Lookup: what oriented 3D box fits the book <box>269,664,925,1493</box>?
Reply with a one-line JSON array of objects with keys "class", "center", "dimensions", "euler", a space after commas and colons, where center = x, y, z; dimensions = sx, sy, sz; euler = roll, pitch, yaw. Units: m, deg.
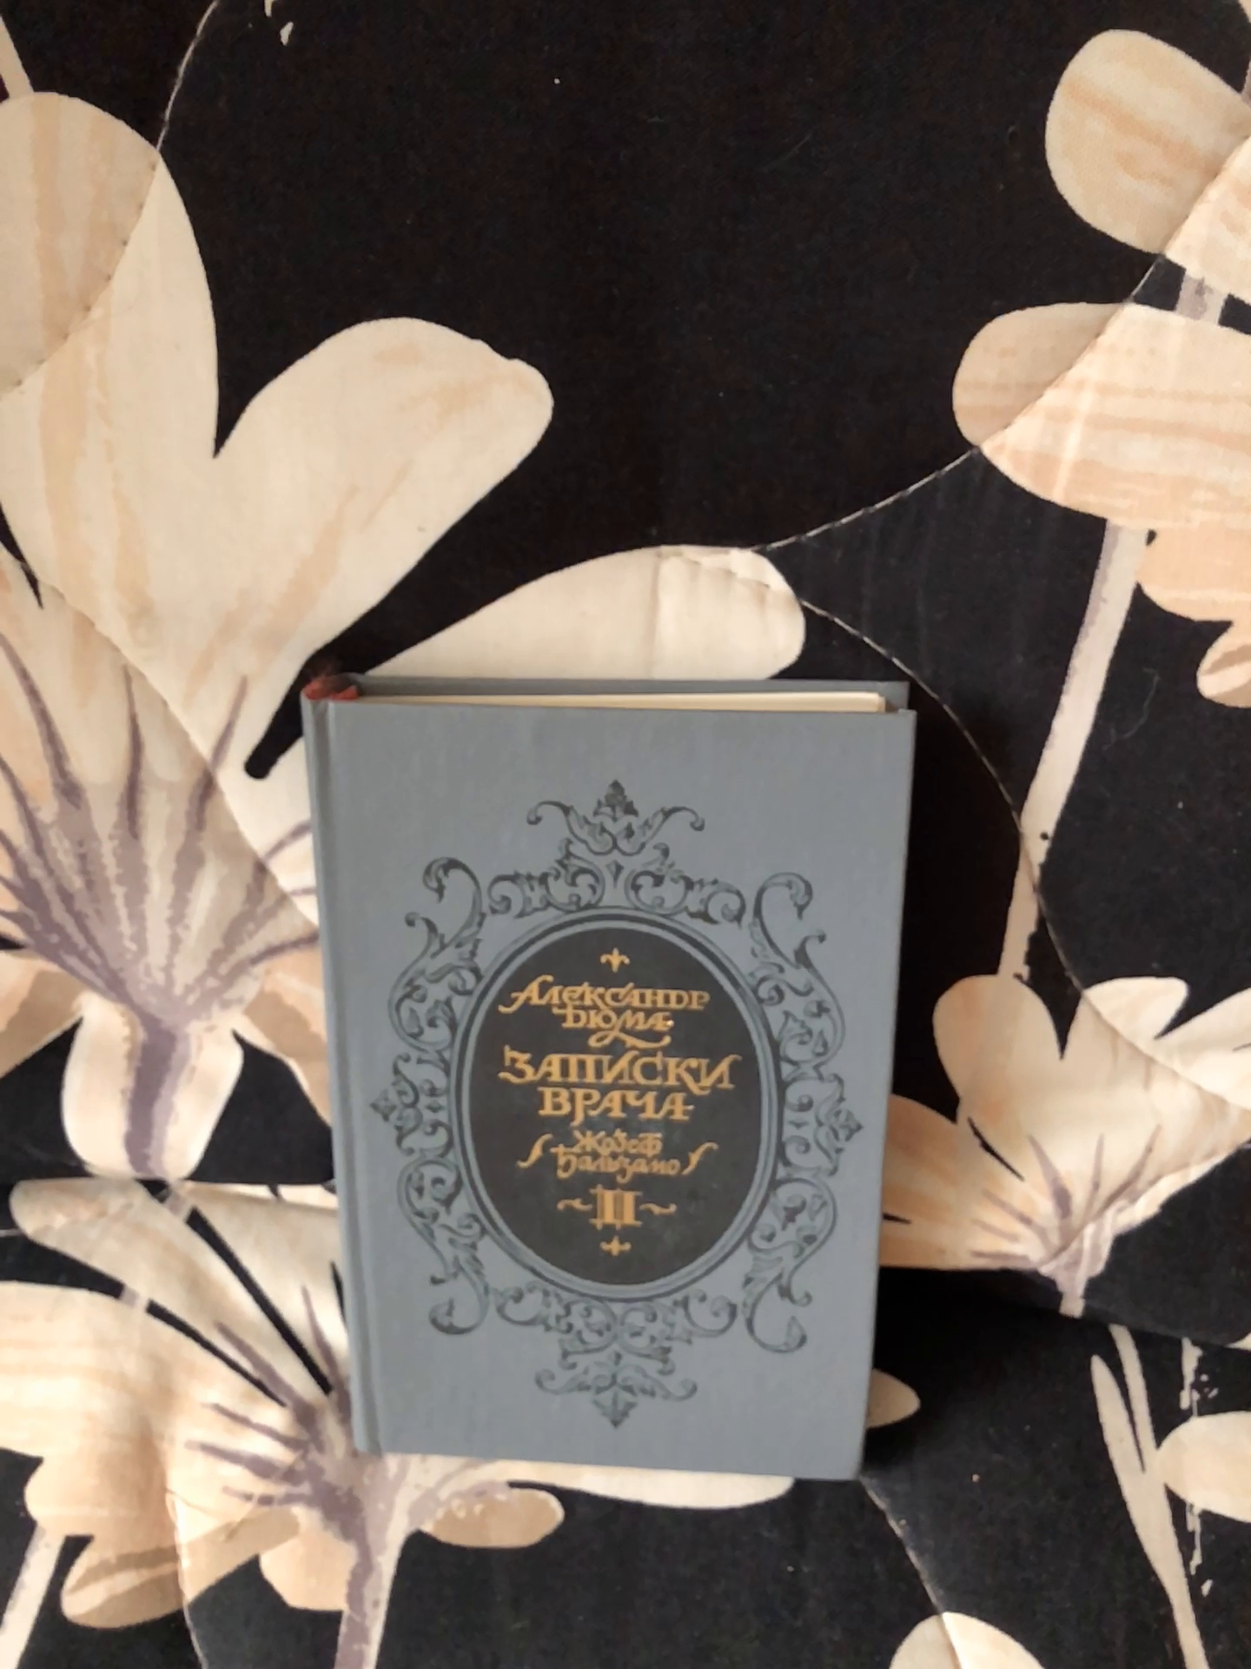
[{"class": "book", "center": [-0.006, 0.064, 0.344], "dimensions": [0.140, 0.030, 0.206], "euler": [2, 109, 5]}]
